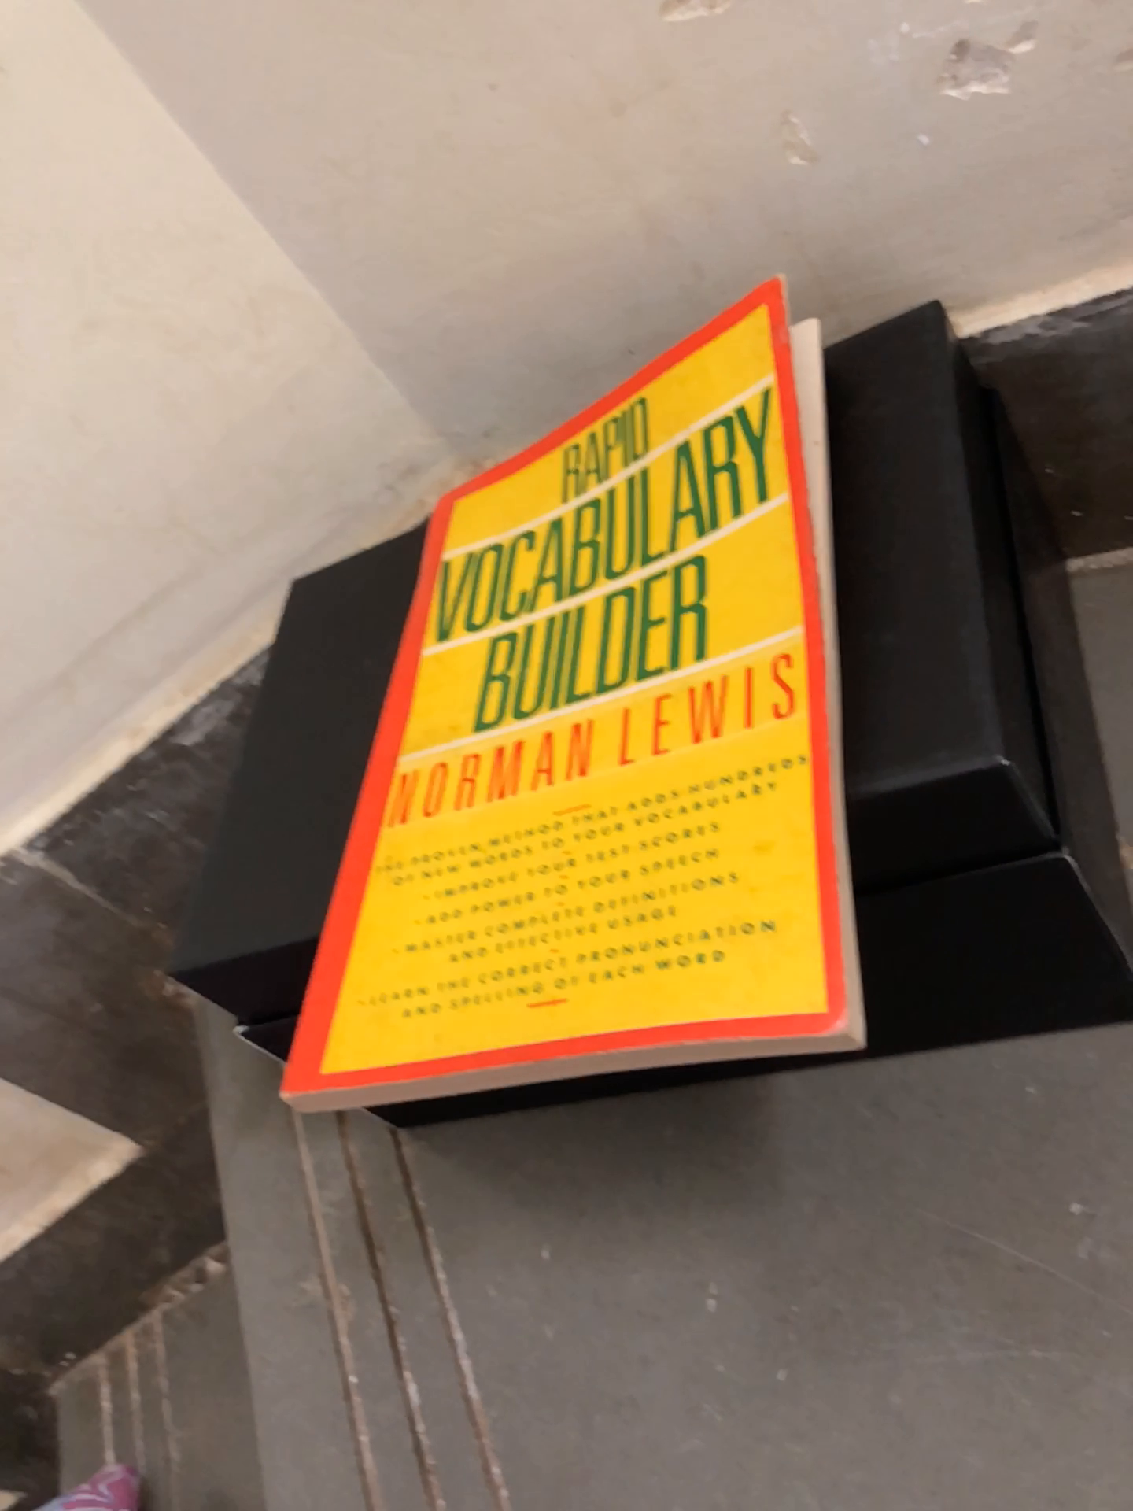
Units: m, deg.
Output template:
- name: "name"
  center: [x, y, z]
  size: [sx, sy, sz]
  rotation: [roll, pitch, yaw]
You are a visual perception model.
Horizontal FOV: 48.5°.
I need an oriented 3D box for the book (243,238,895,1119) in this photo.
- name: "book"
  center: [0.010, -0.028, 0.326]
  size: [0.140, 0.030, 0.230]
  rotation: [-15, 47, 30]
